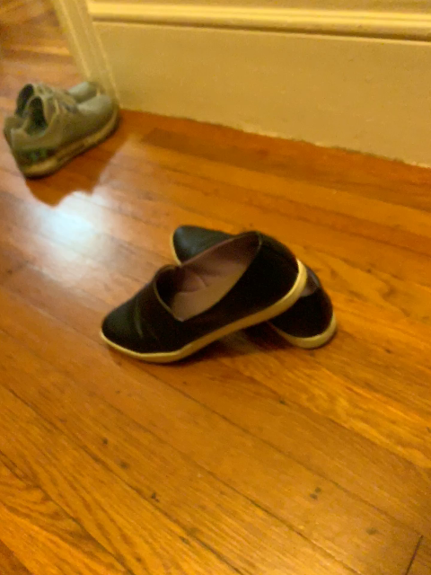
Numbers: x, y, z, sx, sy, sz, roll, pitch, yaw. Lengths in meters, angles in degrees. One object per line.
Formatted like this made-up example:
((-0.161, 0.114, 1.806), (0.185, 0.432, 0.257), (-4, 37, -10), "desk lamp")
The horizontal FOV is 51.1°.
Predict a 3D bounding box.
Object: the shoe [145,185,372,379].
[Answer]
((0.041, -0.021, 0.537), (0.100, 0.080, 0.261), (-38, 50, -22), "shoe")

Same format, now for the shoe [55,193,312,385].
((-0.036, 0.010, 0.473), (0.250, 0.080, 0.100), (-21, 41, 25), "shoe")
